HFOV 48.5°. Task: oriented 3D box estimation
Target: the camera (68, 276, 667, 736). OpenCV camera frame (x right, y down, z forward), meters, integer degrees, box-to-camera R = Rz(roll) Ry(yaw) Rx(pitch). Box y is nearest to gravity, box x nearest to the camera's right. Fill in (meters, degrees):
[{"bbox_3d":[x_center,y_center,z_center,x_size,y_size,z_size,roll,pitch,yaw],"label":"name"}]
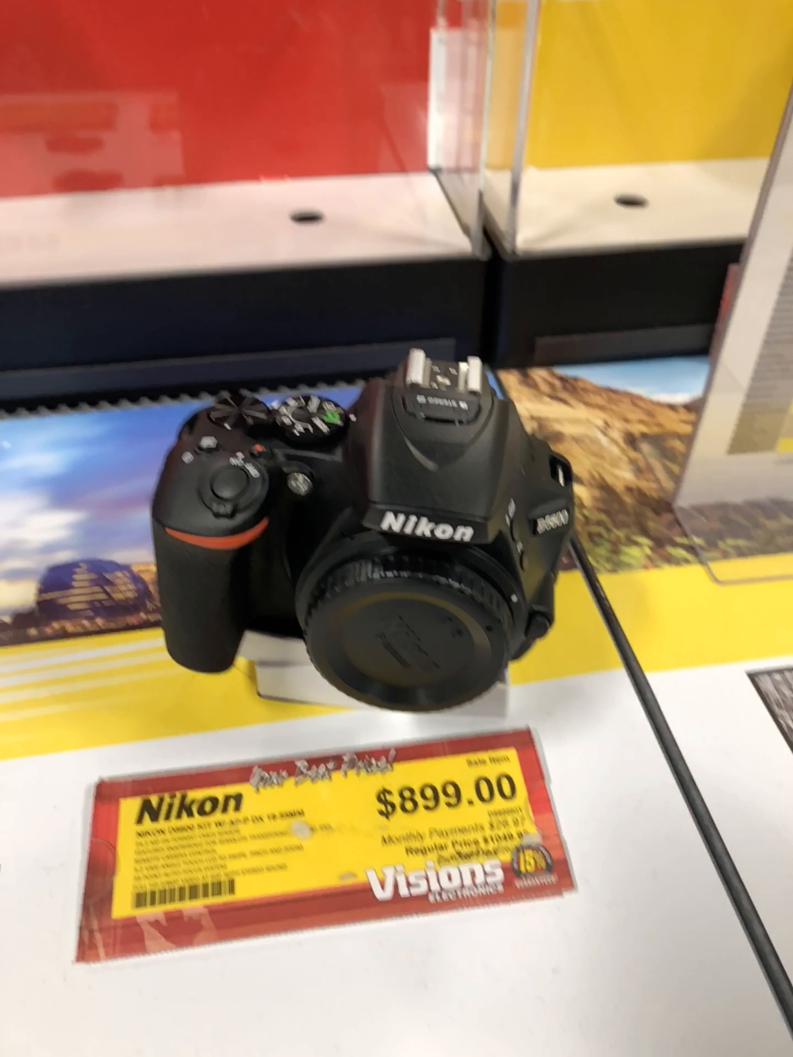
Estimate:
[{"bbox_3d":[-0.007,-0.008,0.263,0.140,0.089,0.081,8,39,2],"label":"camera"}]
